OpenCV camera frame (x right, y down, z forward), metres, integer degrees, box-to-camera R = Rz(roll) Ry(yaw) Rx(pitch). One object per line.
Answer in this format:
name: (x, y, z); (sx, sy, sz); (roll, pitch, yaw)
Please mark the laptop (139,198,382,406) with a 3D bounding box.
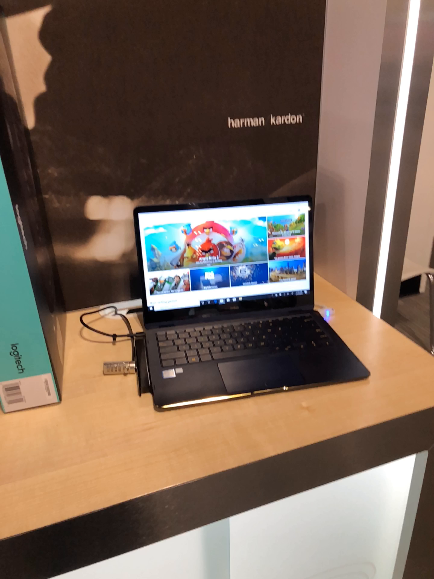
laptop: (0.043, -0.003, 0.714); (0.291, 0.190, 0.249); (-6, 25, -10)
